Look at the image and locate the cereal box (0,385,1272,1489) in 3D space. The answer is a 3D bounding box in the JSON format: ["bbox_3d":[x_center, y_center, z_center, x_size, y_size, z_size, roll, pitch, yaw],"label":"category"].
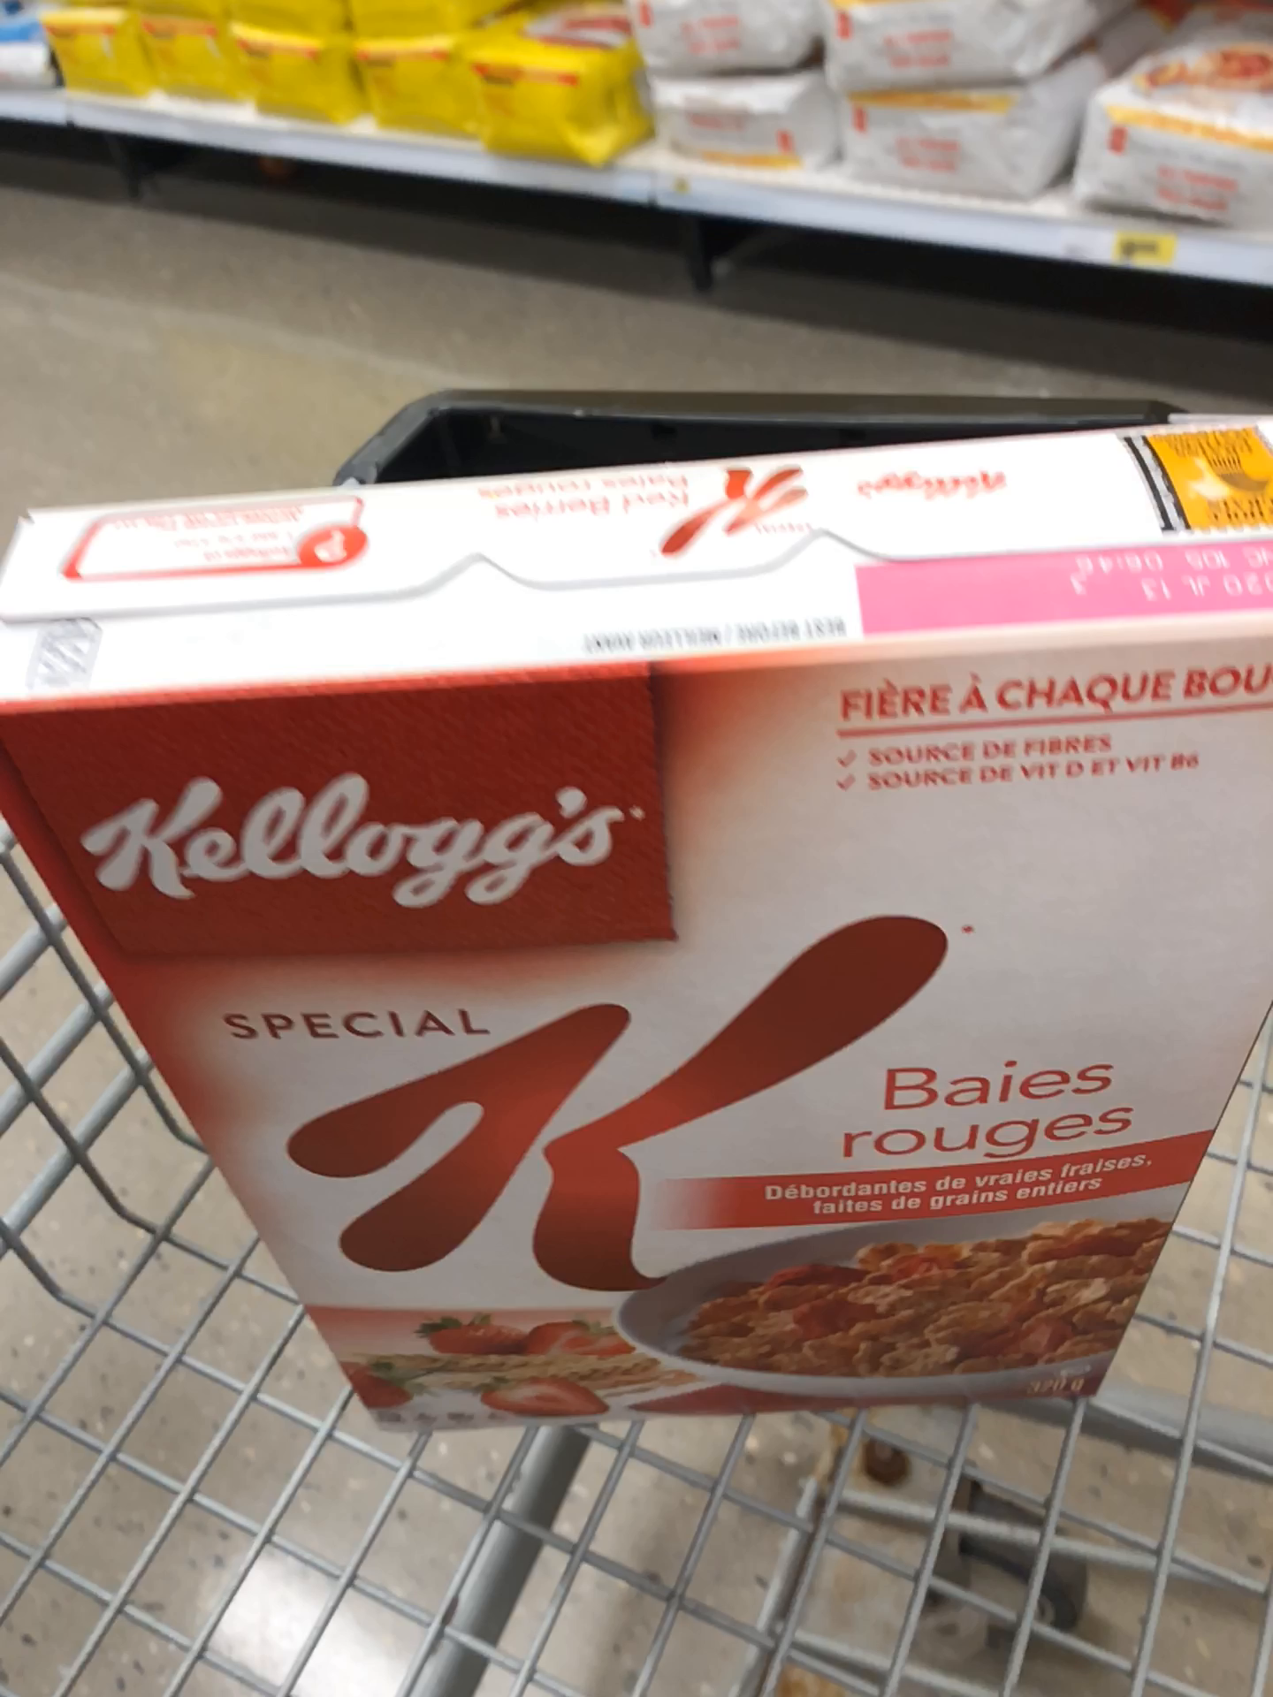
[{"bbox_3d":[0.011,0.051,0.290,0.210,0.269,0.050,-4,46,3],"label":"cereal box"}]
